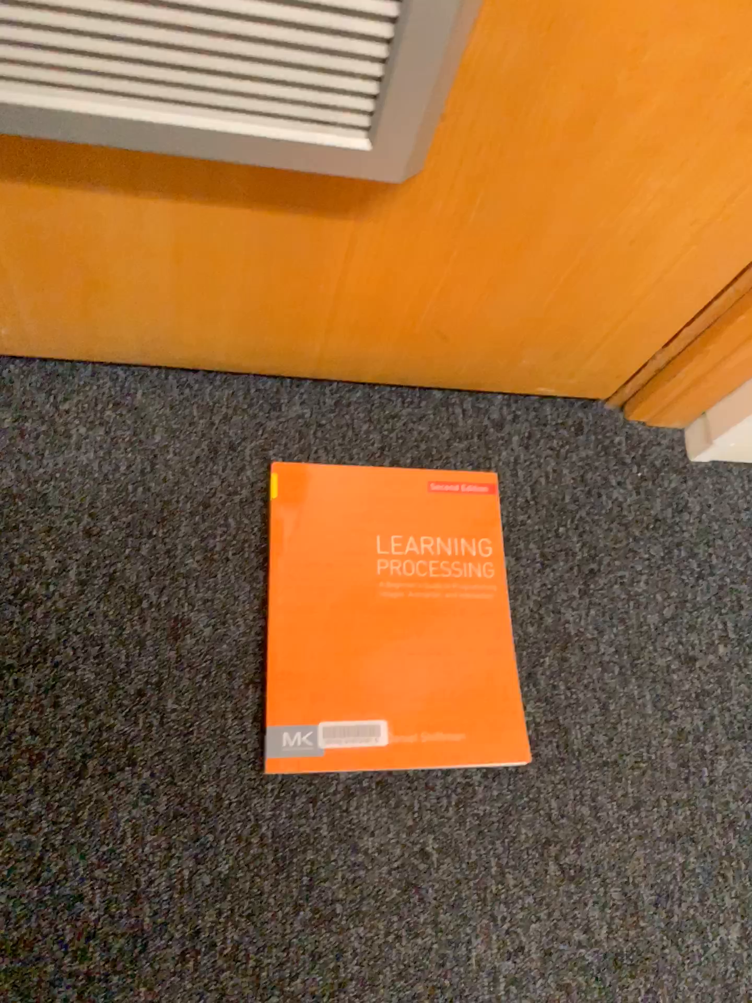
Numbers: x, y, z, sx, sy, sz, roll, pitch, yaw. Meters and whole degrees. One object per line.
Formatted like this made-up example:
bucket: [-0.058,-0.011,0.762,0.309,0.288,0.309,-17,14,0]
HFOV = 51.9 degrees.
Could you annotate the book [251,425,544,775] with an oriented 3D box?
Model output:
book: [0.011,0.072,0.607,0.210,0.040,0.261,2,69,-12]
